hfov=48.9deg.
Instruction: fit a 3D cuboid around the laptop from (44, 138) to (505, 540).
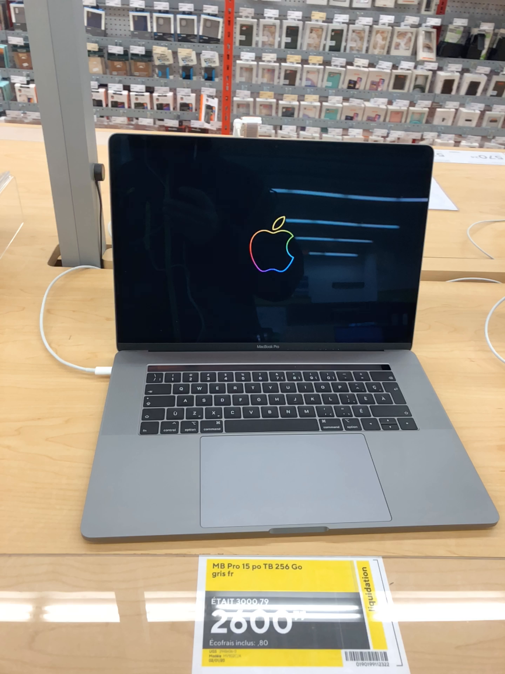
[{"bbox_3d":[0.033,-0.022,0.503,0.329,0.212,0.299,0,36,-7],"label":"laptop"}]
